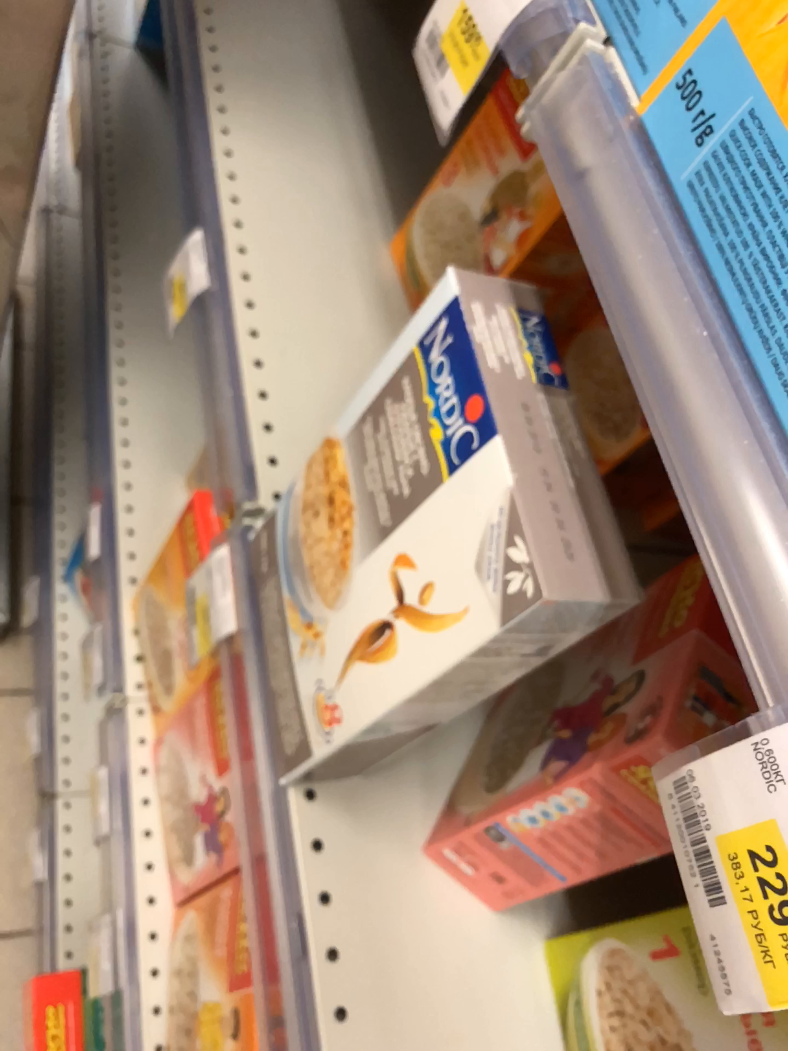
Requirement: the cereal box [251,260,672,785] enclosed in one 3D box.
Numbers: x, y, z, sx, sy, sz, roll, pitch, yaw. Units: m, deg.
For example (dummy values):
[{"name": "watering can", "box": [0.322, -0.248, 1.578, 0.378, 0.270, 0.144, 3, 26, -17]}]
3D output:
[{"name": "cereal box", "box": [0.007, 0.016, 0.408, 0.050, 0.229, 0.140, 4, 59, -30]}]
